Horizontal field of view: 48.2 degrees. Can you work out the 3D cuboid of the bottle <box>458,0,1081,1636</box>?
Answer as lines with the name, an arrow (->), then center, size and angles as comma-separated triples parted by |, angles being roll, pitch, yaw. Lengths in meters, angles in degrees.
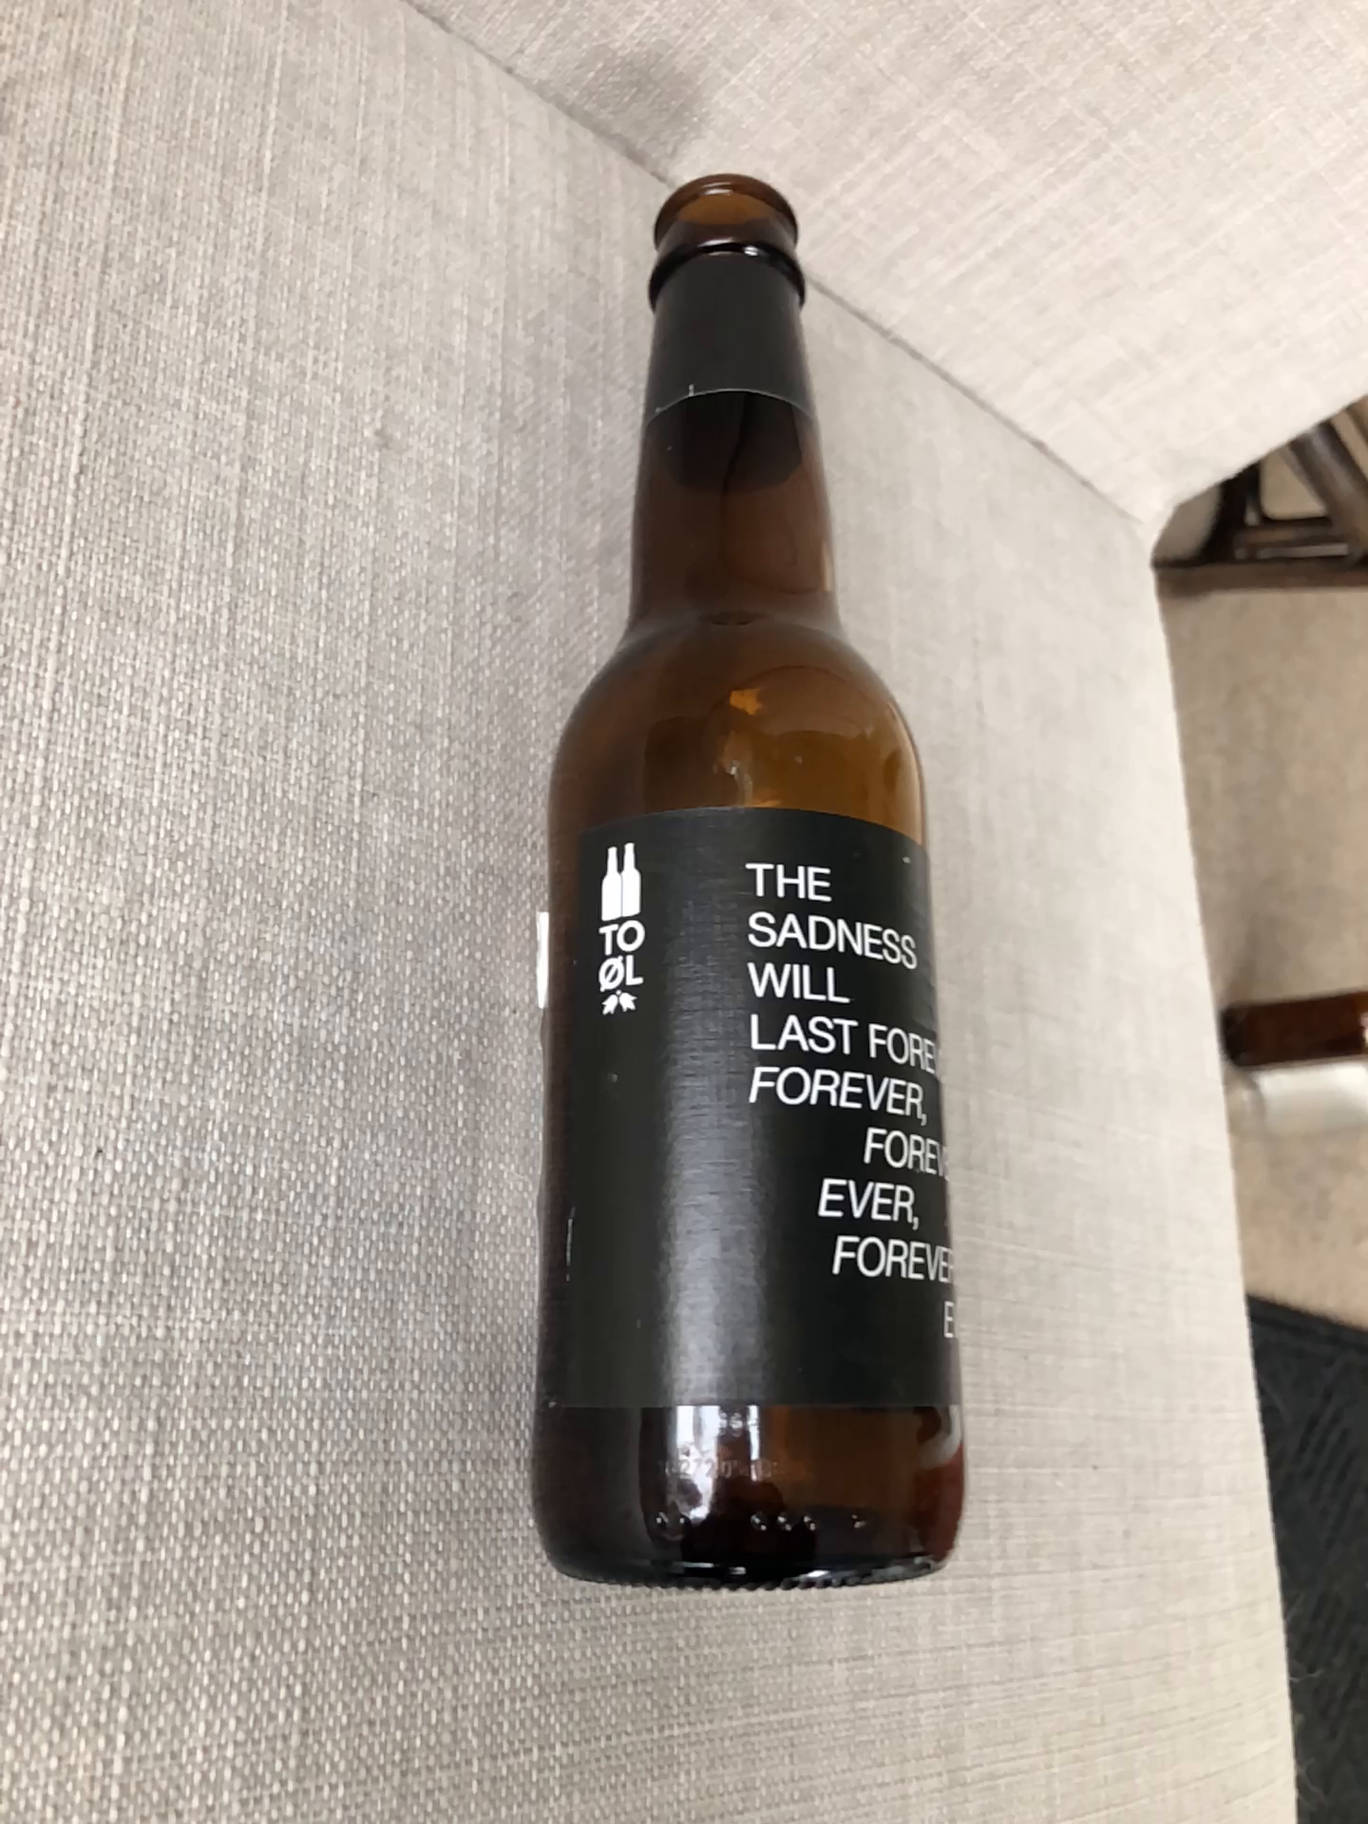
bottle -> 0.014, -0.023, 0.242 | 0.060, 0.060, 0.239 | 17, 67, -43
